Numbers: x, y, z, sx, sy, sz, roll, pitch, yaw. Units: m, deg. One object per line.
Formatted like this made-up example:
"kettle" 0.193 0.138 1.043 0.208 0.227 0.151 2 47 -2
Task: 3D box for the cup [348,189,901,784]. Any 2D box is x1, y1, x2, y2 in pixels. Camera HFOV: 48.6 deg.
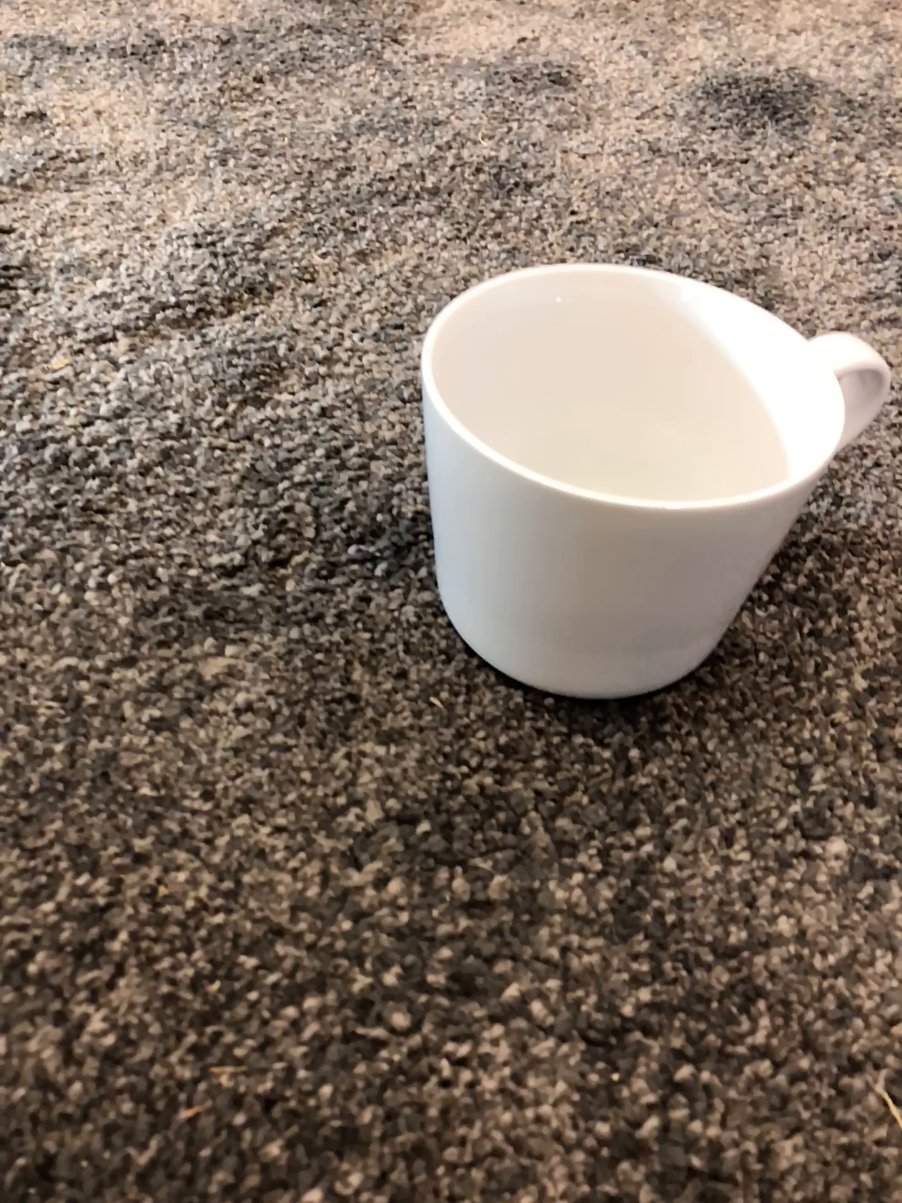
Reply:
"cup" 0.058 -0.038 0.264 0.140 0.080 0.100 -18 51 -20
